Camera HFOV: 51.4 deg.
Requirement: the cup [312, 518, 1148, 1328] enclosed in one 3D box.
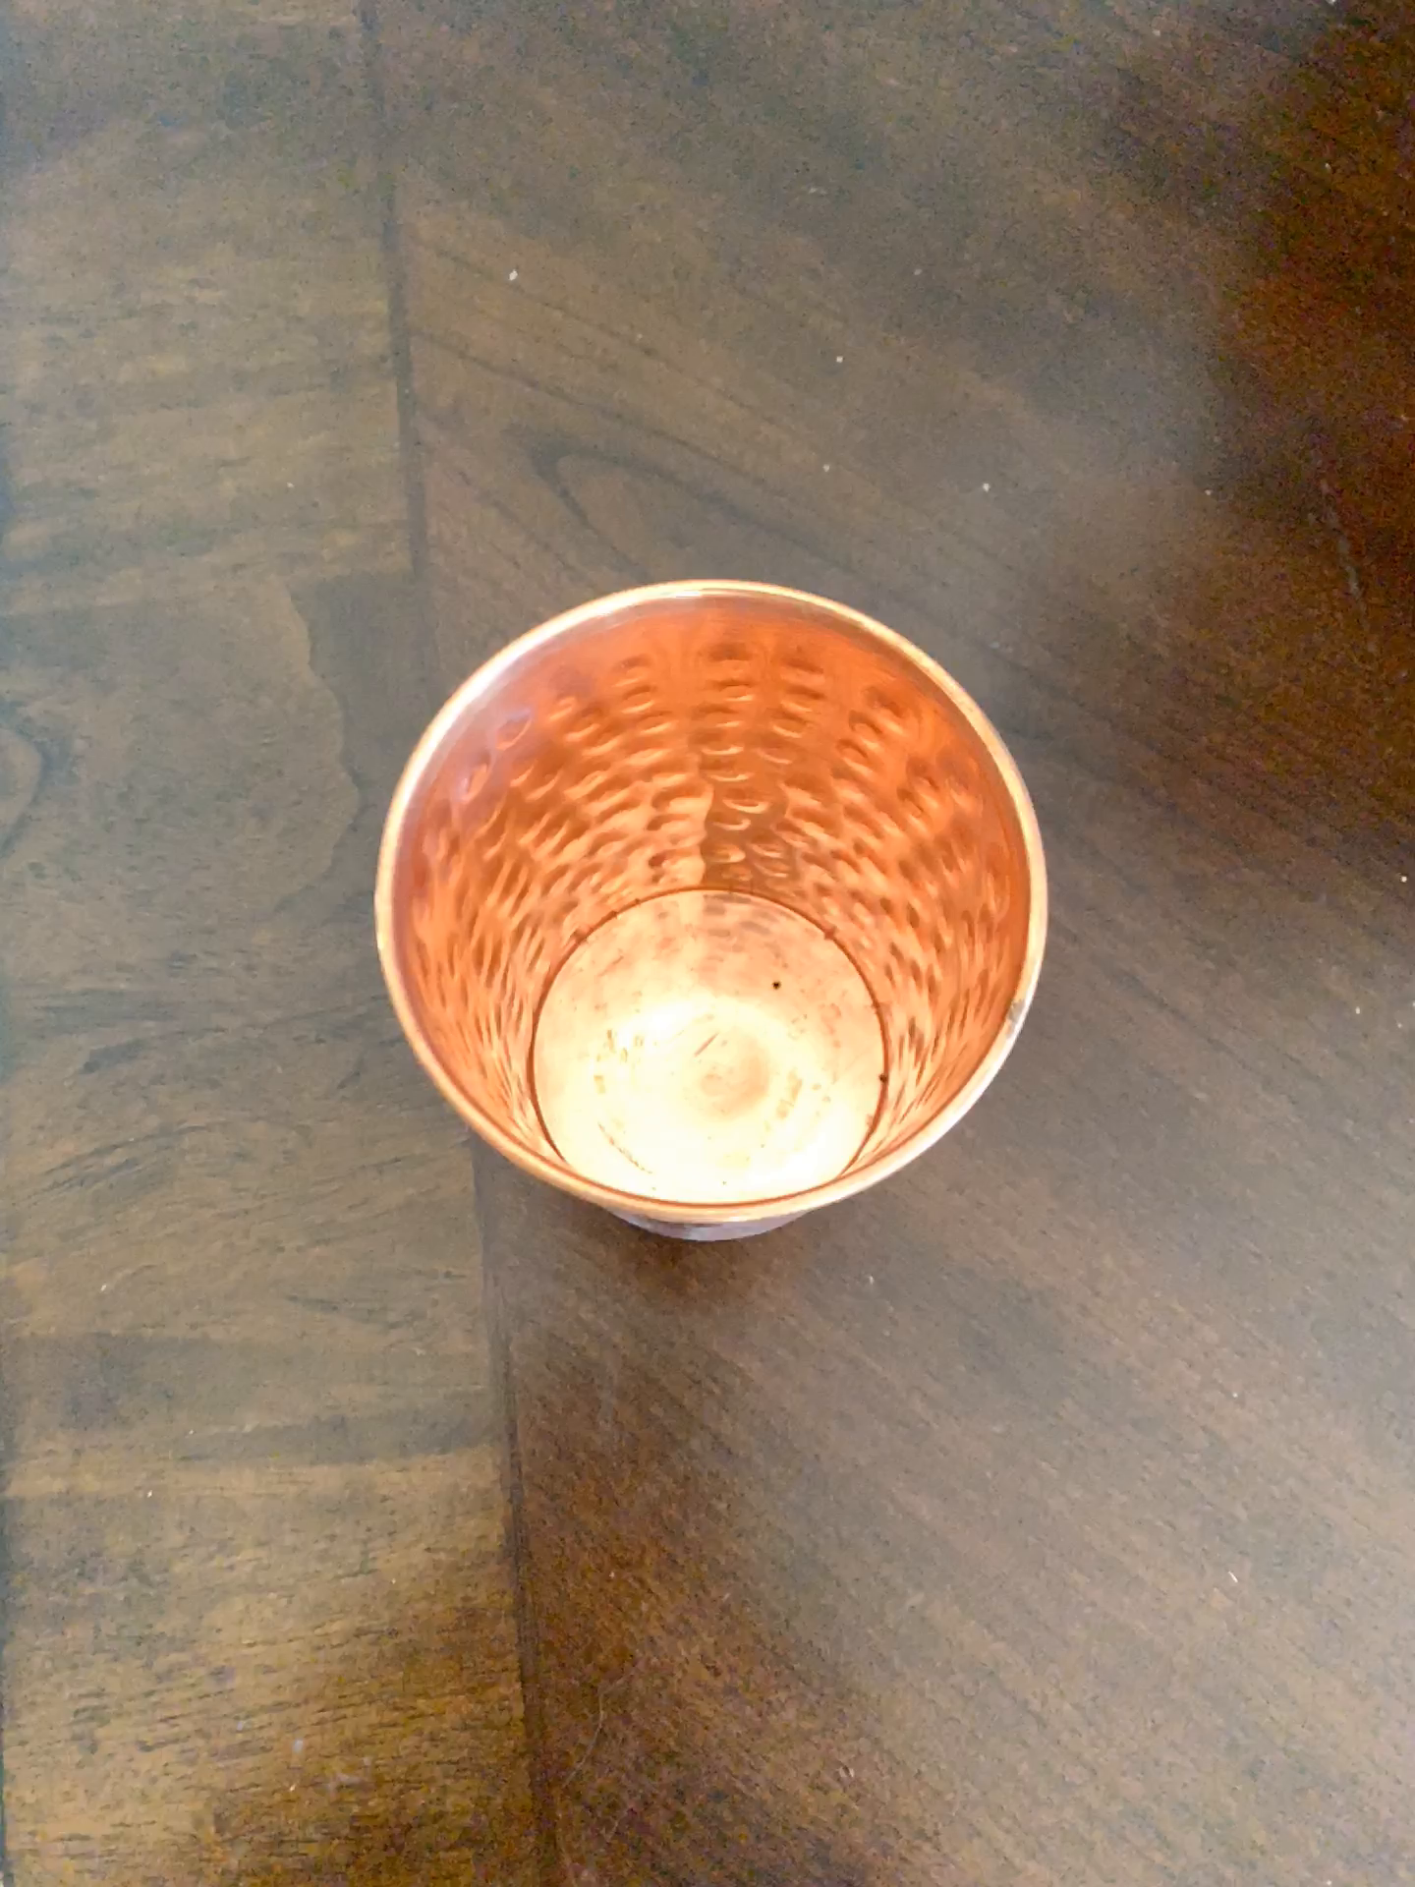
[{"bbox_3d":[0.000,0.005,0.189,0.070,0.083,0.066,0,72,-1],"label":"cup"}]
